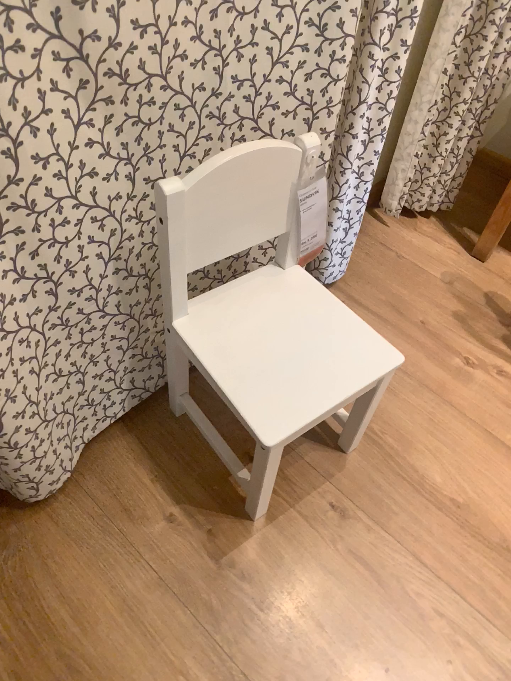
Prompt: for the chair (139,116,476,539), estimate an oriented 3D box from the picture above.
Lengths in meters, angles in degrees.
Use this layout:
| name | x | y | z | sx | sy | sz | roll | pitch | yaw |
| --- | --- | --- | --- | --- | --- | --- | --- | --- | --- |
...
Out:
| name | x | y | z | sx | sy | sz | roll | pitch | yaw |
| --- | --- | --- | --- | --- | --- | --- | --- | --- | --- |
| chair | 0.033 | 0.016 | 0.821 | 0.270 | 0.568 | 0.290 | -29 | 59 | -27 |
